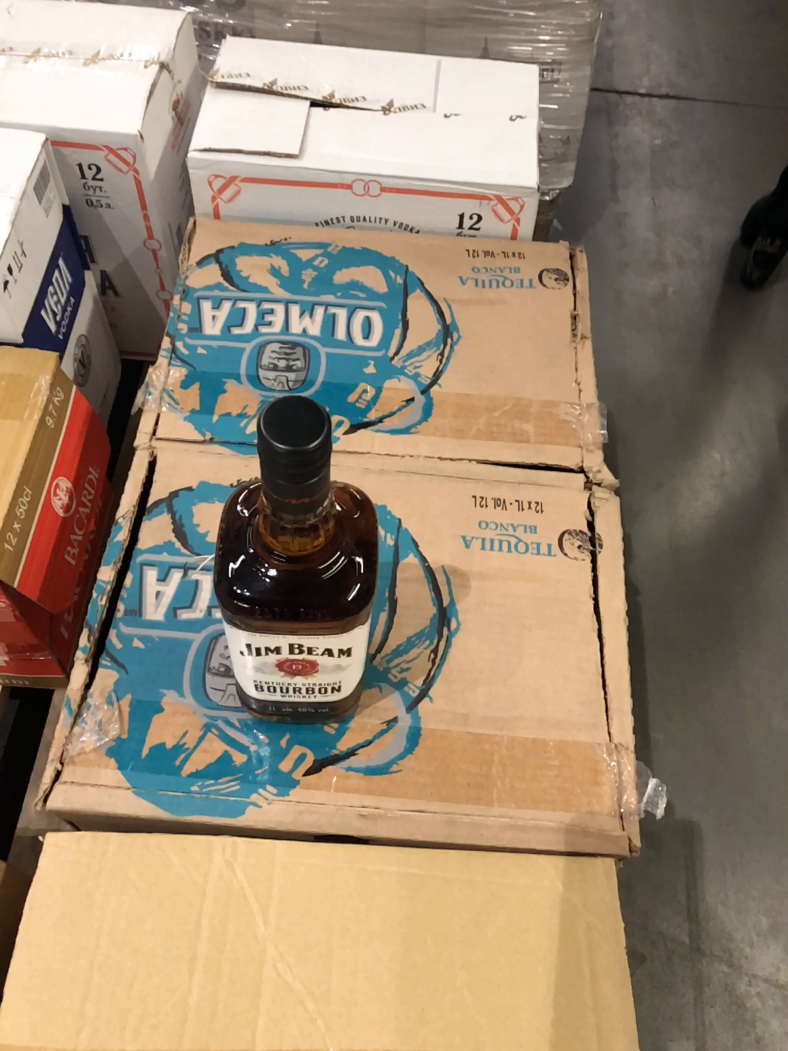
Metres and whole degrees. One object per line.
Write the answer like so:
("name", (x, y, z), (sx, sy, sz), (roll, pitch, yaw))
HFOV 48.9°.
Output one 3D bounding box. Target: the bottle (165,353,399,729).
("bottle", (-0.051, 0.028, 0.477), (0.090, 0.263, 0.081), (3, 59, -2))
